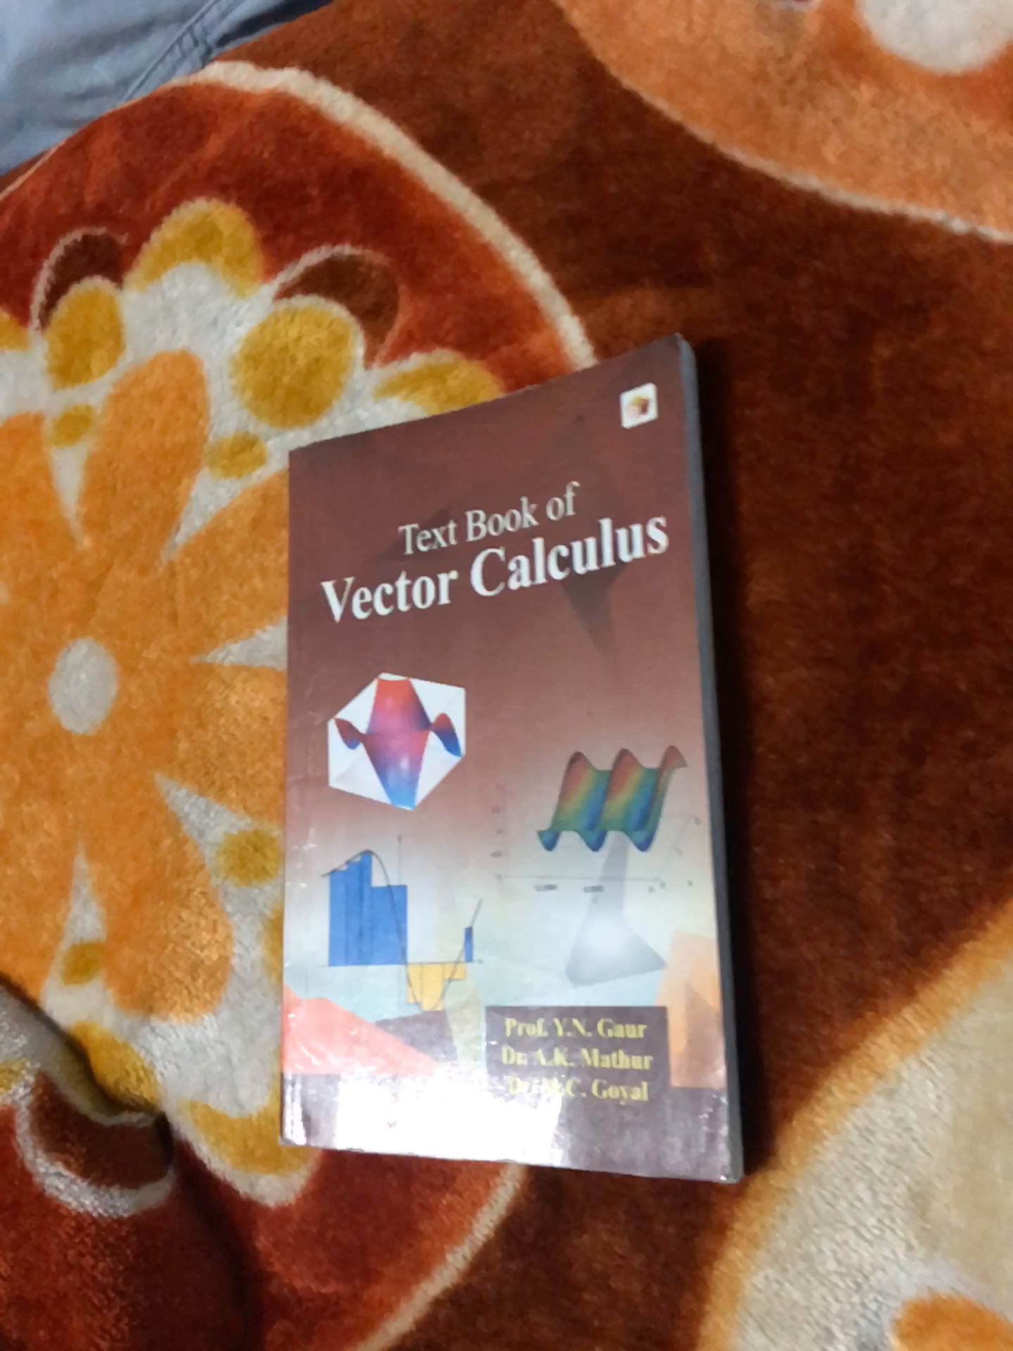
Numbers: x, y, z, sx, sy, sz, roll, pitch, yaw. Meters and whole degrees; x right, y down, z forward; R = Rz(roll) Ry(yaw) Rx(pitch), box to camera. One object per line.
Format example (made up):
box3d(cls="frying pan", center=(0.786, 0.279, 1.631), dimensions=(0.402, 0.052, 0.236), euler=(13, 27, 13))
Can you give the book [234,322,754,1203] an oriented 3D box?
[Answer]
box3d(cls="book", center=(-0.013, 0.023, 0.310), dimensions=(0.140, 0.020, 0.210), euler=(-10, 75, 29))
